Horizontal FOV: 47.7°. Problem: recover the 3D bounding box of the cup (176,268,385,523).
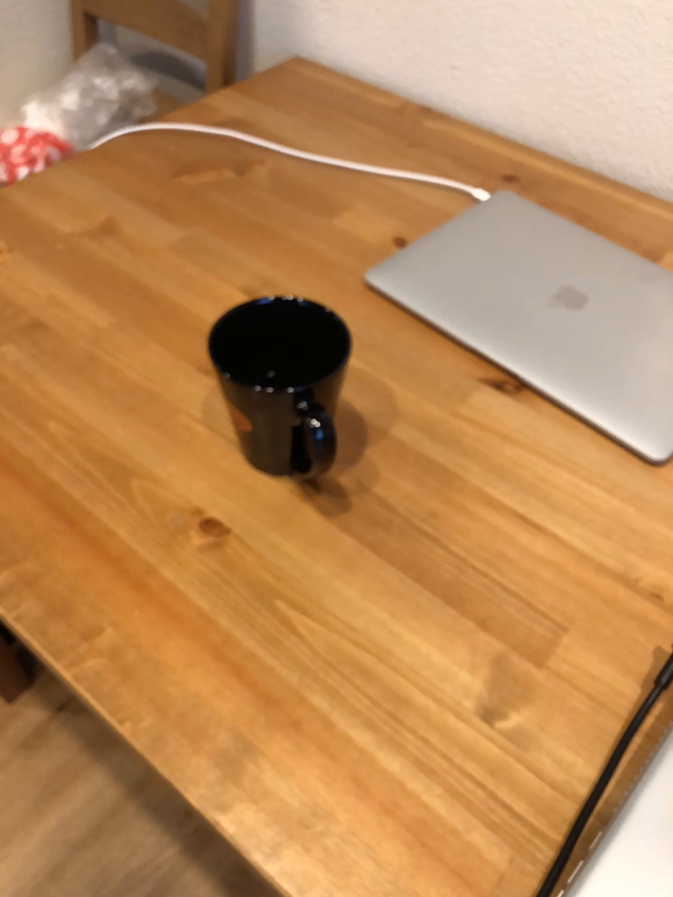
[{"bbox_3d":[-0.038,-0.037,0.496,0.090,0.090,0.120,-17,51,-17],"label":"cup"}]
